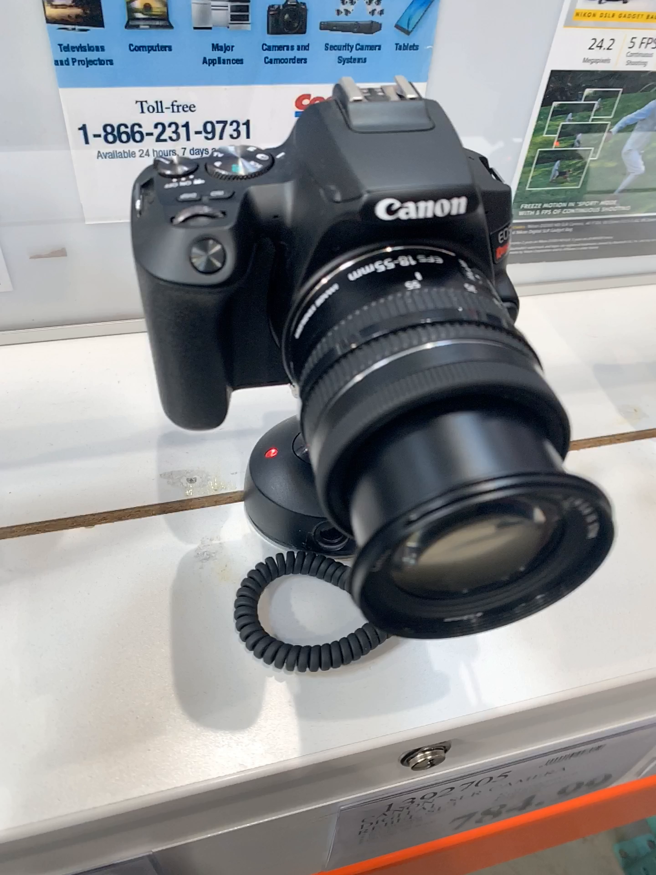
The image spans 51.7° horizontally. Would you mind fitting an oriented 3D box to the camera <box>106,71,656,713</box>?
[{"bbox_3d":[0.014,-0.028,0.176,0.119,0.079,0.141,-9,46,-14],"label":"camera"}]
